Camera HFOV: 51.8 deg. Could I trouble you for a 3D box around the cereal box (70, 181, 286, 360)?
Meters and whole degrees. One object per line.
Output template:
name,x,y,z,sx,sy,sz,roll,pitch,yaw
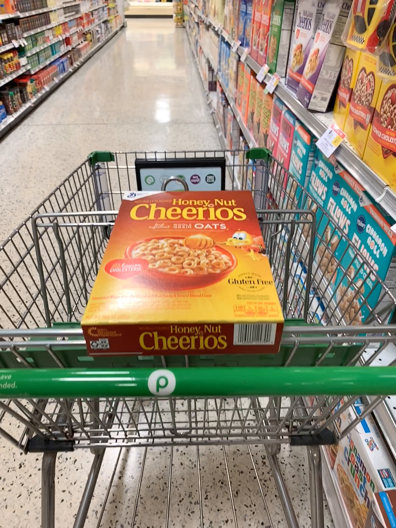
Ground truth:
cereal box,-0.020,-0.014,0.514,0.200,0.059,0.293,-1,36,0
